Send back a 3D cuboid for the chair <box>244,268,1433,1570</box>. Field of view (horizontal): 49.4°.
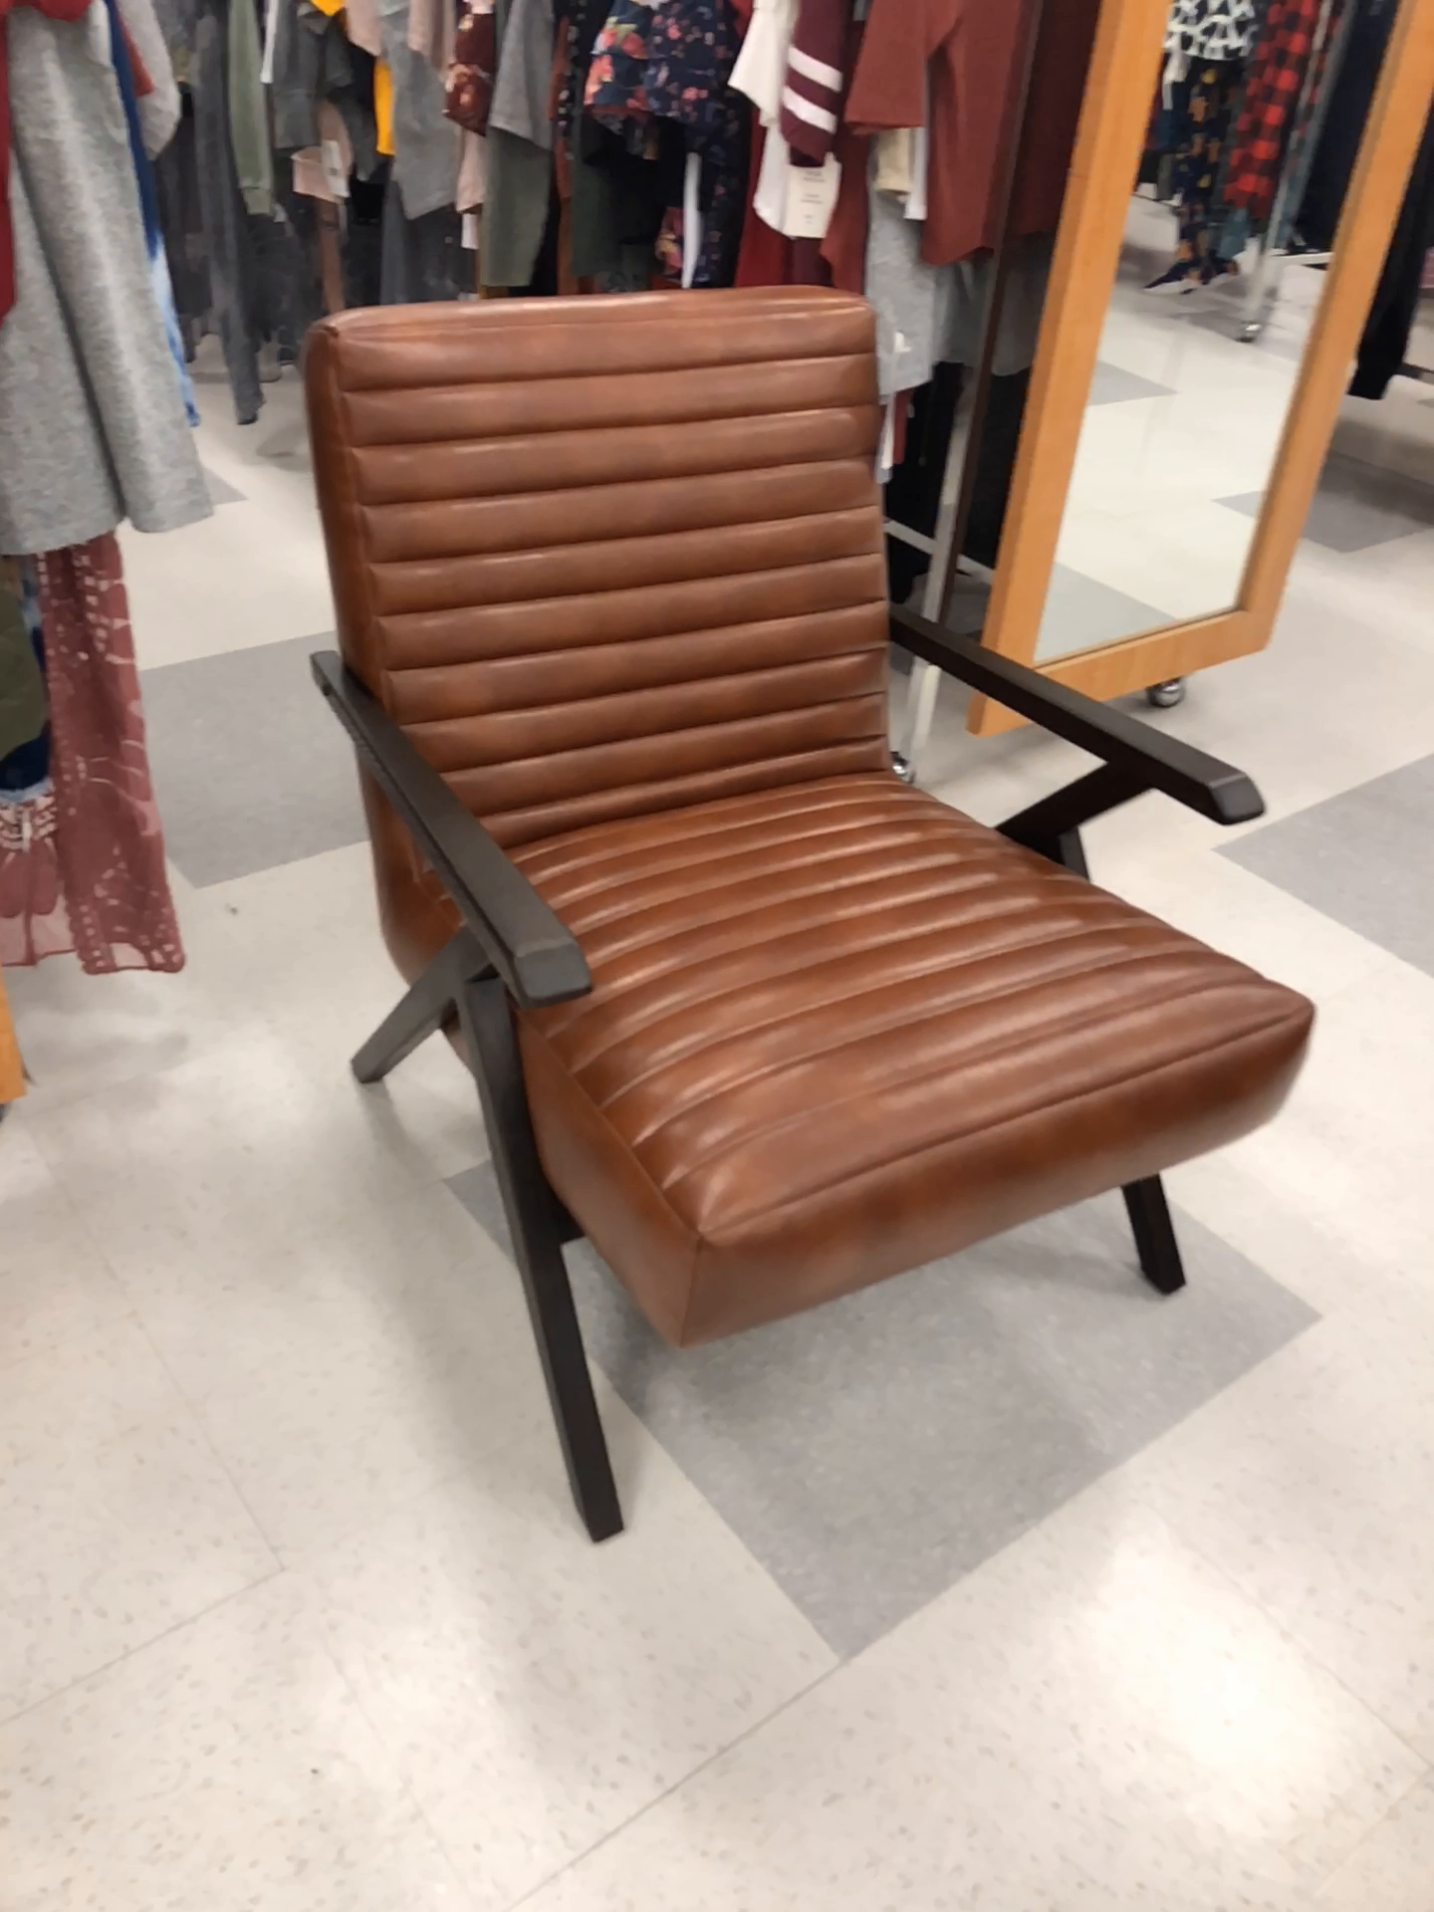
[{"bbox_3d":[0.058,-0.101,1.352,0.677,0.756,0.679,-14,40,-26],"label":"chair"}]
